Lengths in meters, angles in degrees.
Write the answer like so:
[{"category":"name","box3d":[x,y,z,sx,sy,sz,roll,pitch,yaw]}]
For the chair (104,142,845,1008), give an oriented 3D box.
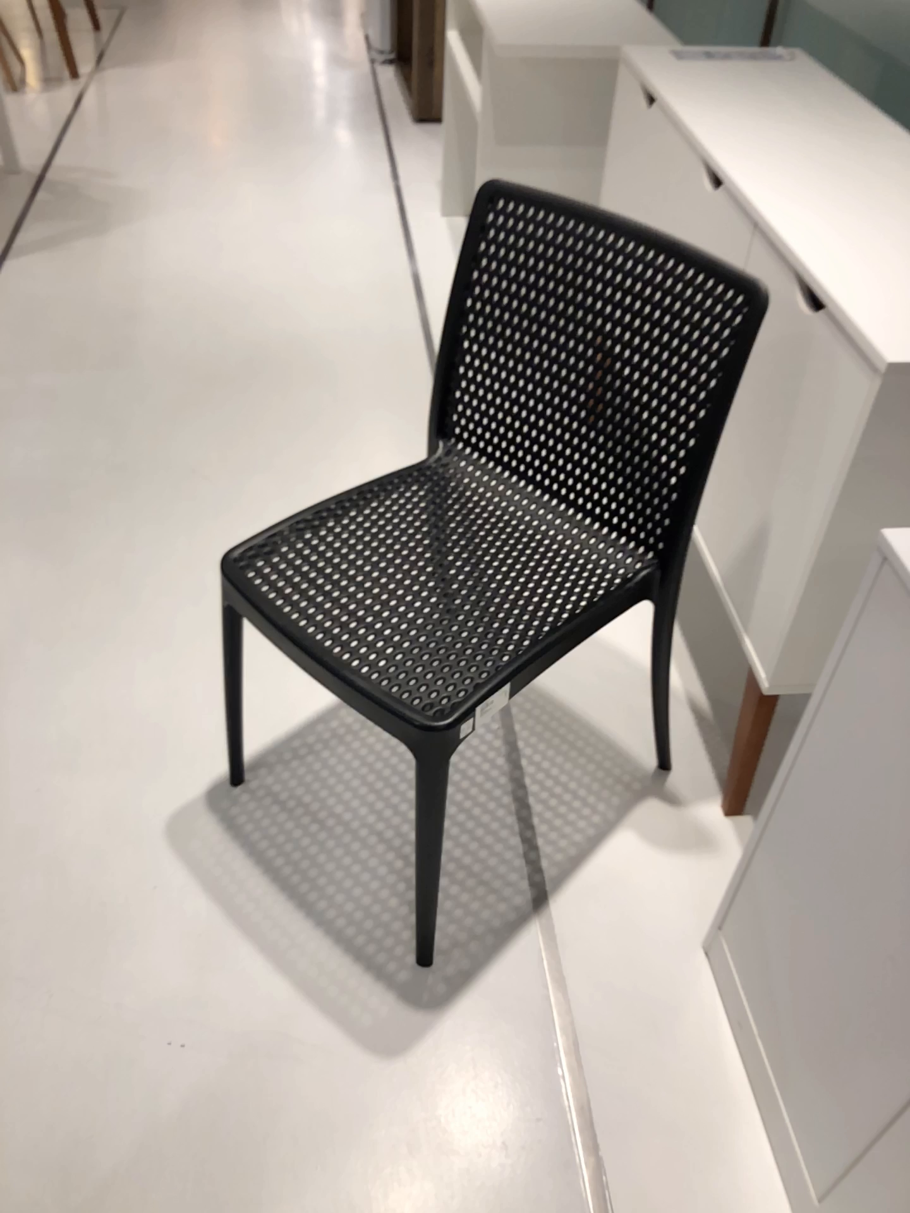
[{"category":"chair","box3d":[0.017,-0.046,1.368,0.532,0.863,0.603,34,50,29]}]
